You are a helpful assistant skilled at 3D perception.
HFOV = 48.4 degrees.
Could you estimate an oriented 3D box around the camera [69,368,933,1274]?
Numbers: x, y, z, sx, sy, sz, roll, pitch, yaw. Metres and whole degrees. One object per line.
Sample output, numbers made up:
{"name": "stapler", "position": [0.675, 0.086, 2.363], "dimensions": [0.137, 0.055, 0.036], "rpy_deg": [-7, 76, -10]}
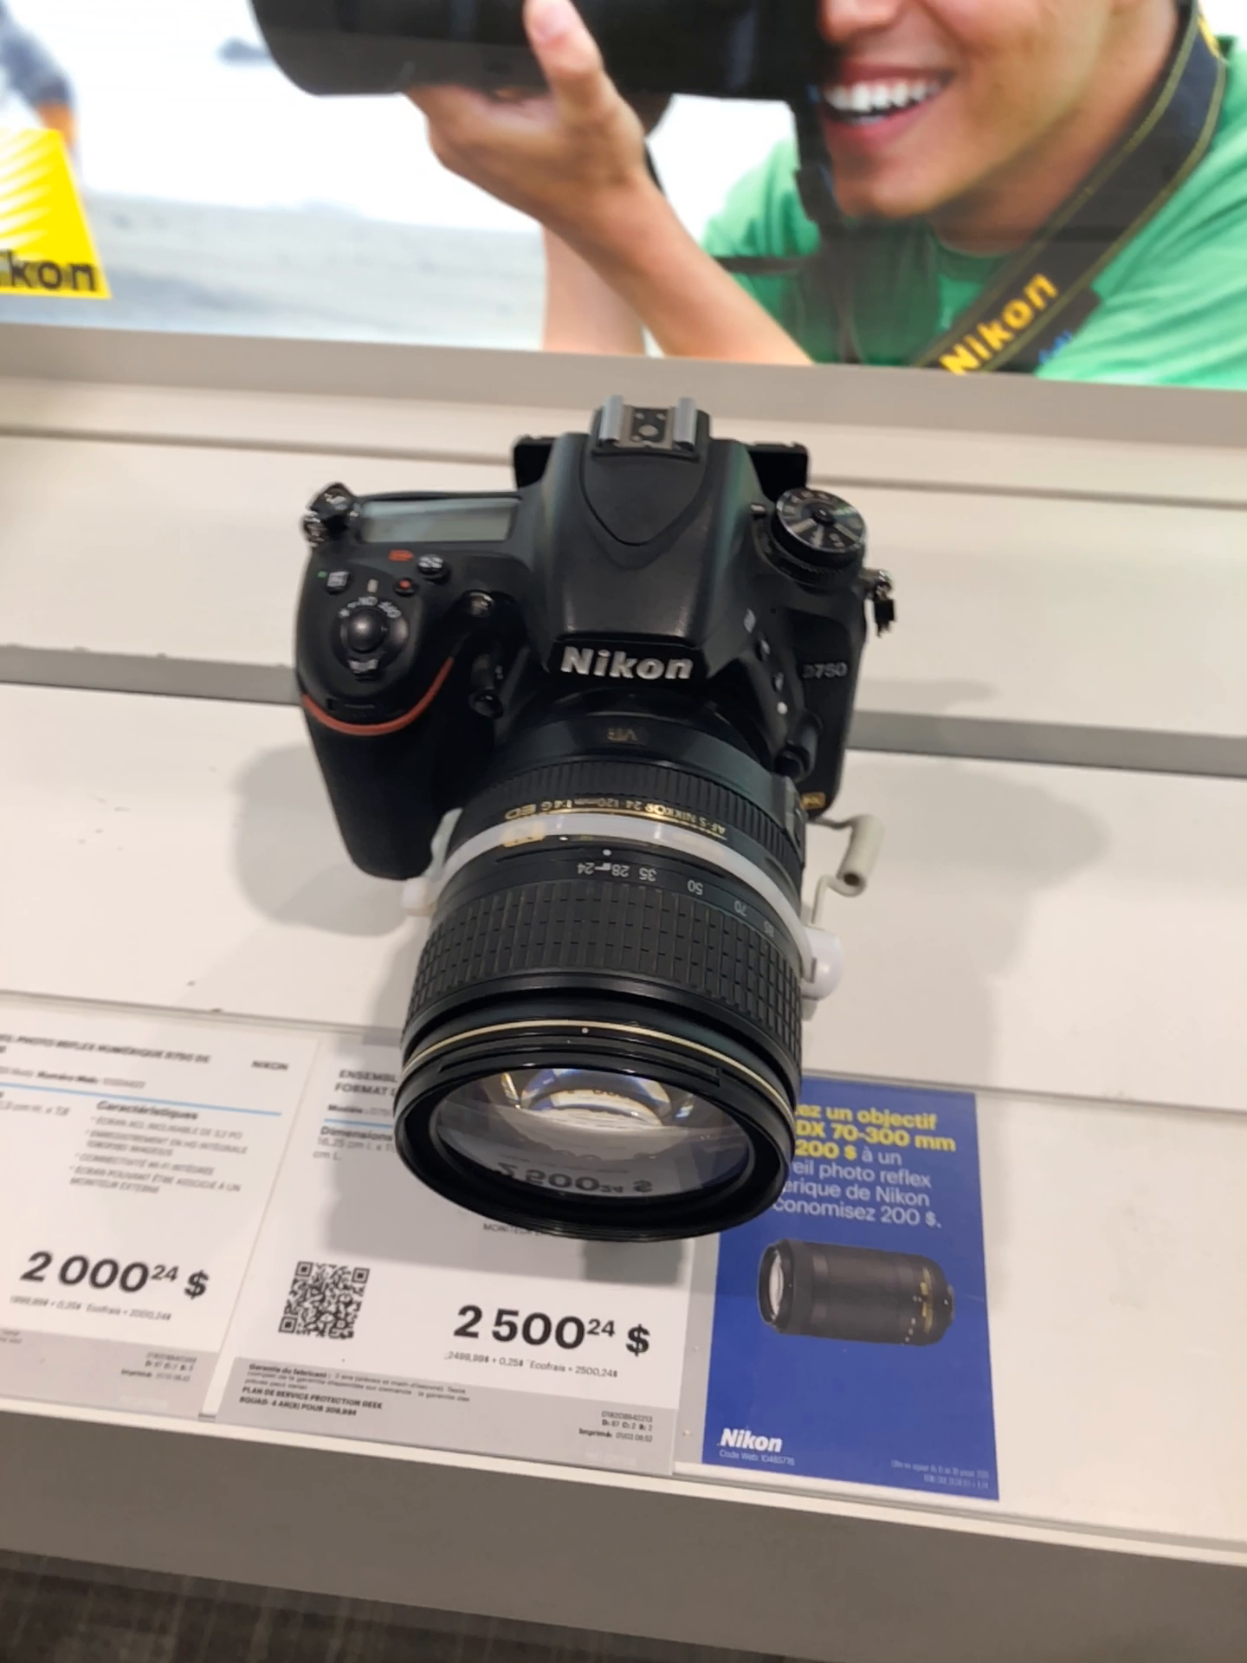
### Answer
{"name": "camera", "position": [-0.014, -0.012, 0.319], "dimensions": [0.138, 0.099, 0.184], "rpy_deg": [3, 47, 3]}
